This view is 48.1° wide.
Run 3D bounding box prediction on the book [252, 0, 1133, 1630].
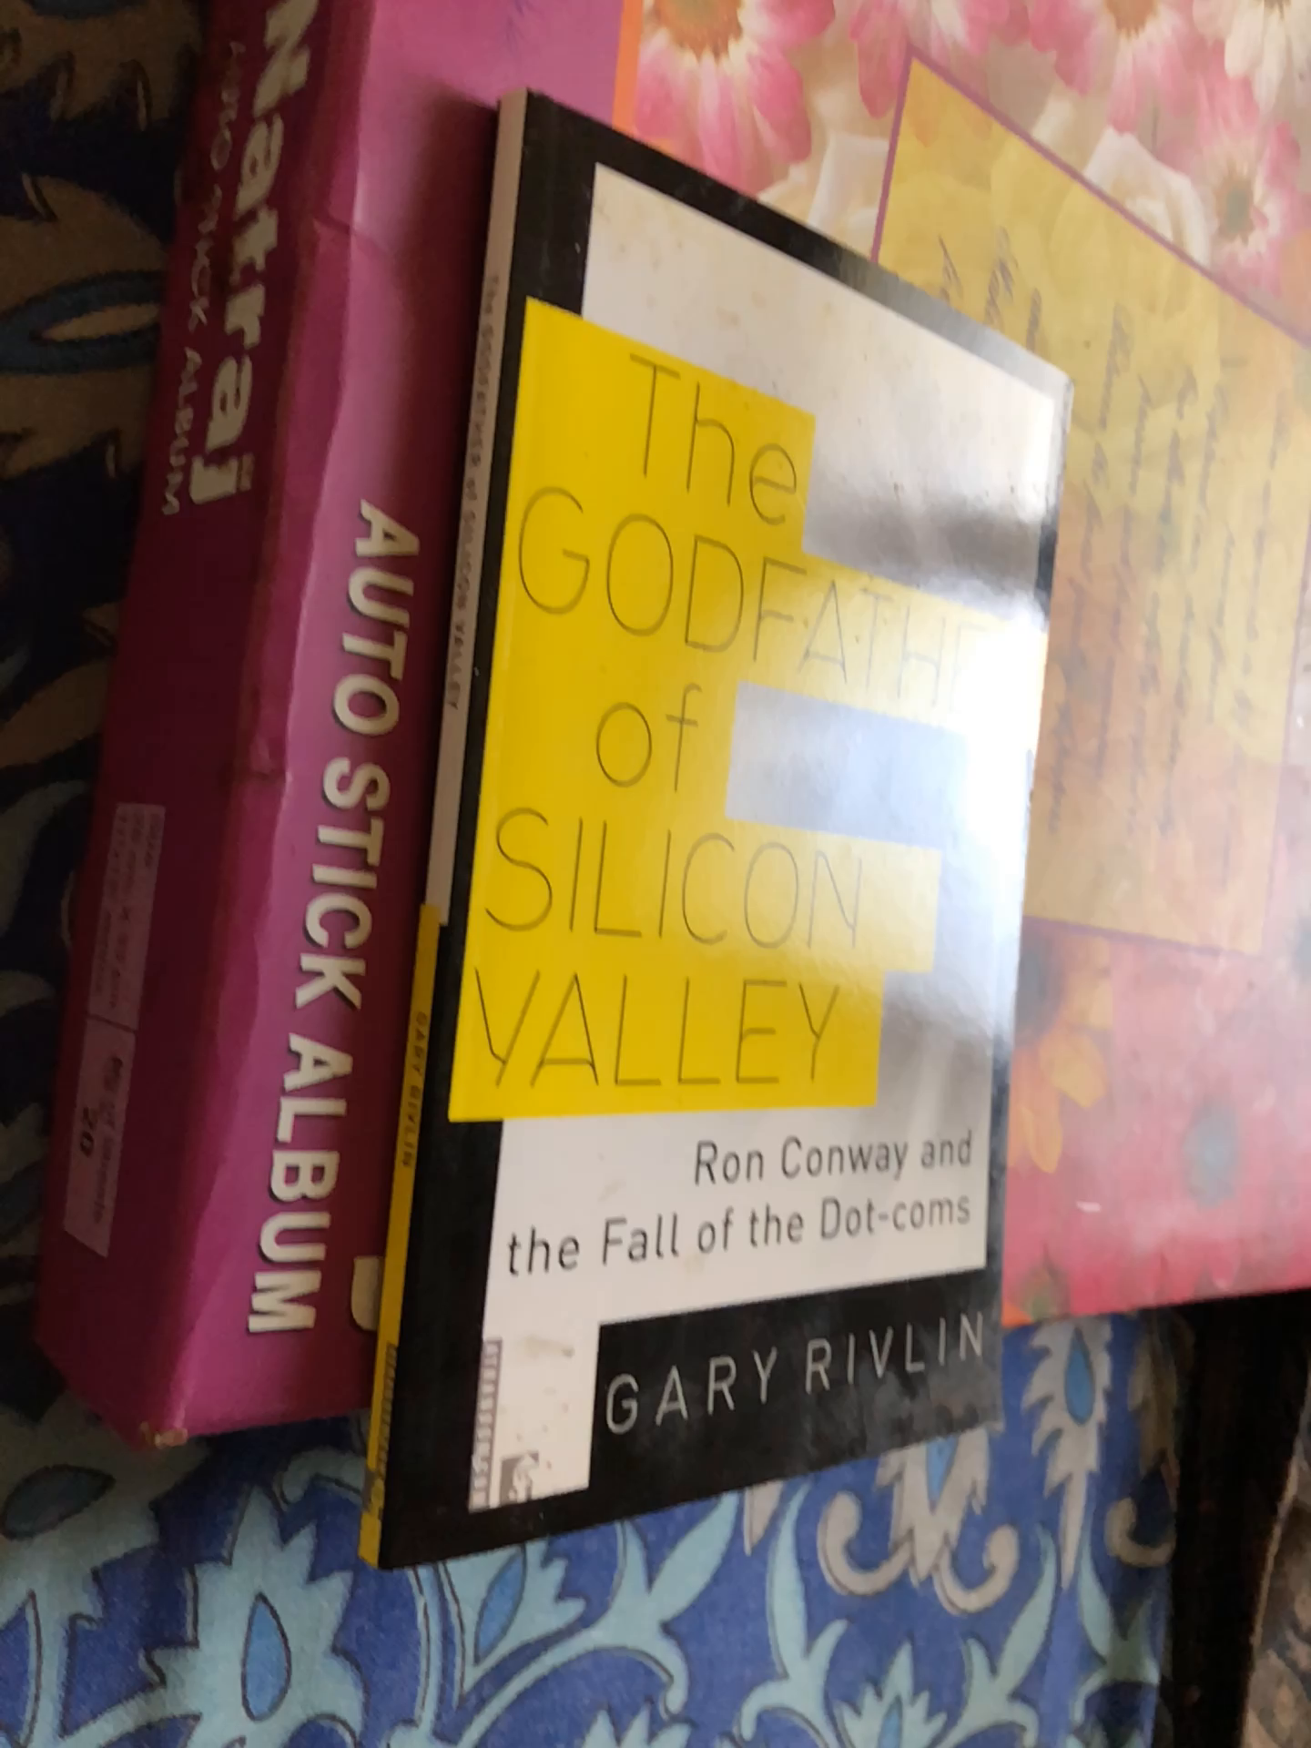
[{"bbox_3d":[0.019,-0.004,0.250,0.151,0.020,0.220,7,90,-42],"label":"book"}]
